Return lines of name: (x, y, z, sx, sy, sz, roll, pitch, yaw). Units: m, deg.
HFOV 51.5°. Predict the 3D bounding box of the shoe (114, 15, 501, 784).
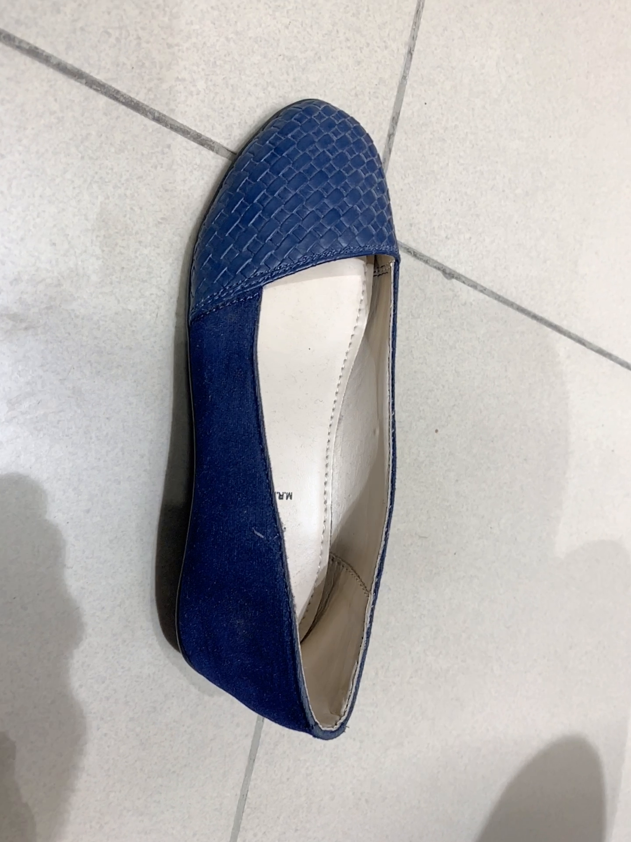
shoe: (-0.002, -0.003, 0.236, 0.090, 0.060, 0.220, 8, 91, -37)
